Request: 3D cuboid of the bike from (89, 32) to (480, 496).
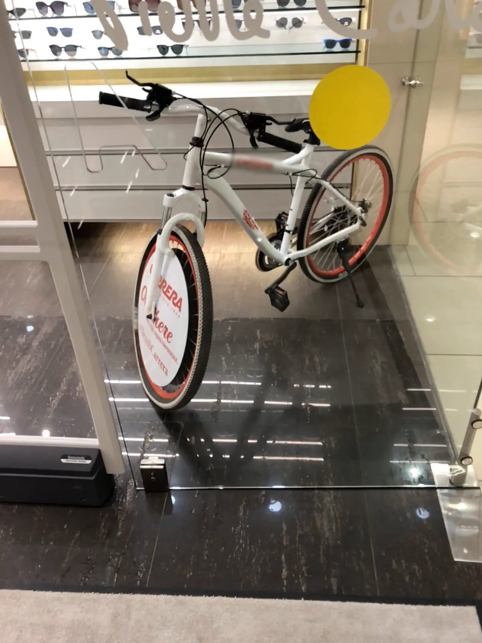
[{"bbox_3d":[0.250,-0.345,1.919,0.593,0.947,1.386,21,45,31],"label":"bike"}]
